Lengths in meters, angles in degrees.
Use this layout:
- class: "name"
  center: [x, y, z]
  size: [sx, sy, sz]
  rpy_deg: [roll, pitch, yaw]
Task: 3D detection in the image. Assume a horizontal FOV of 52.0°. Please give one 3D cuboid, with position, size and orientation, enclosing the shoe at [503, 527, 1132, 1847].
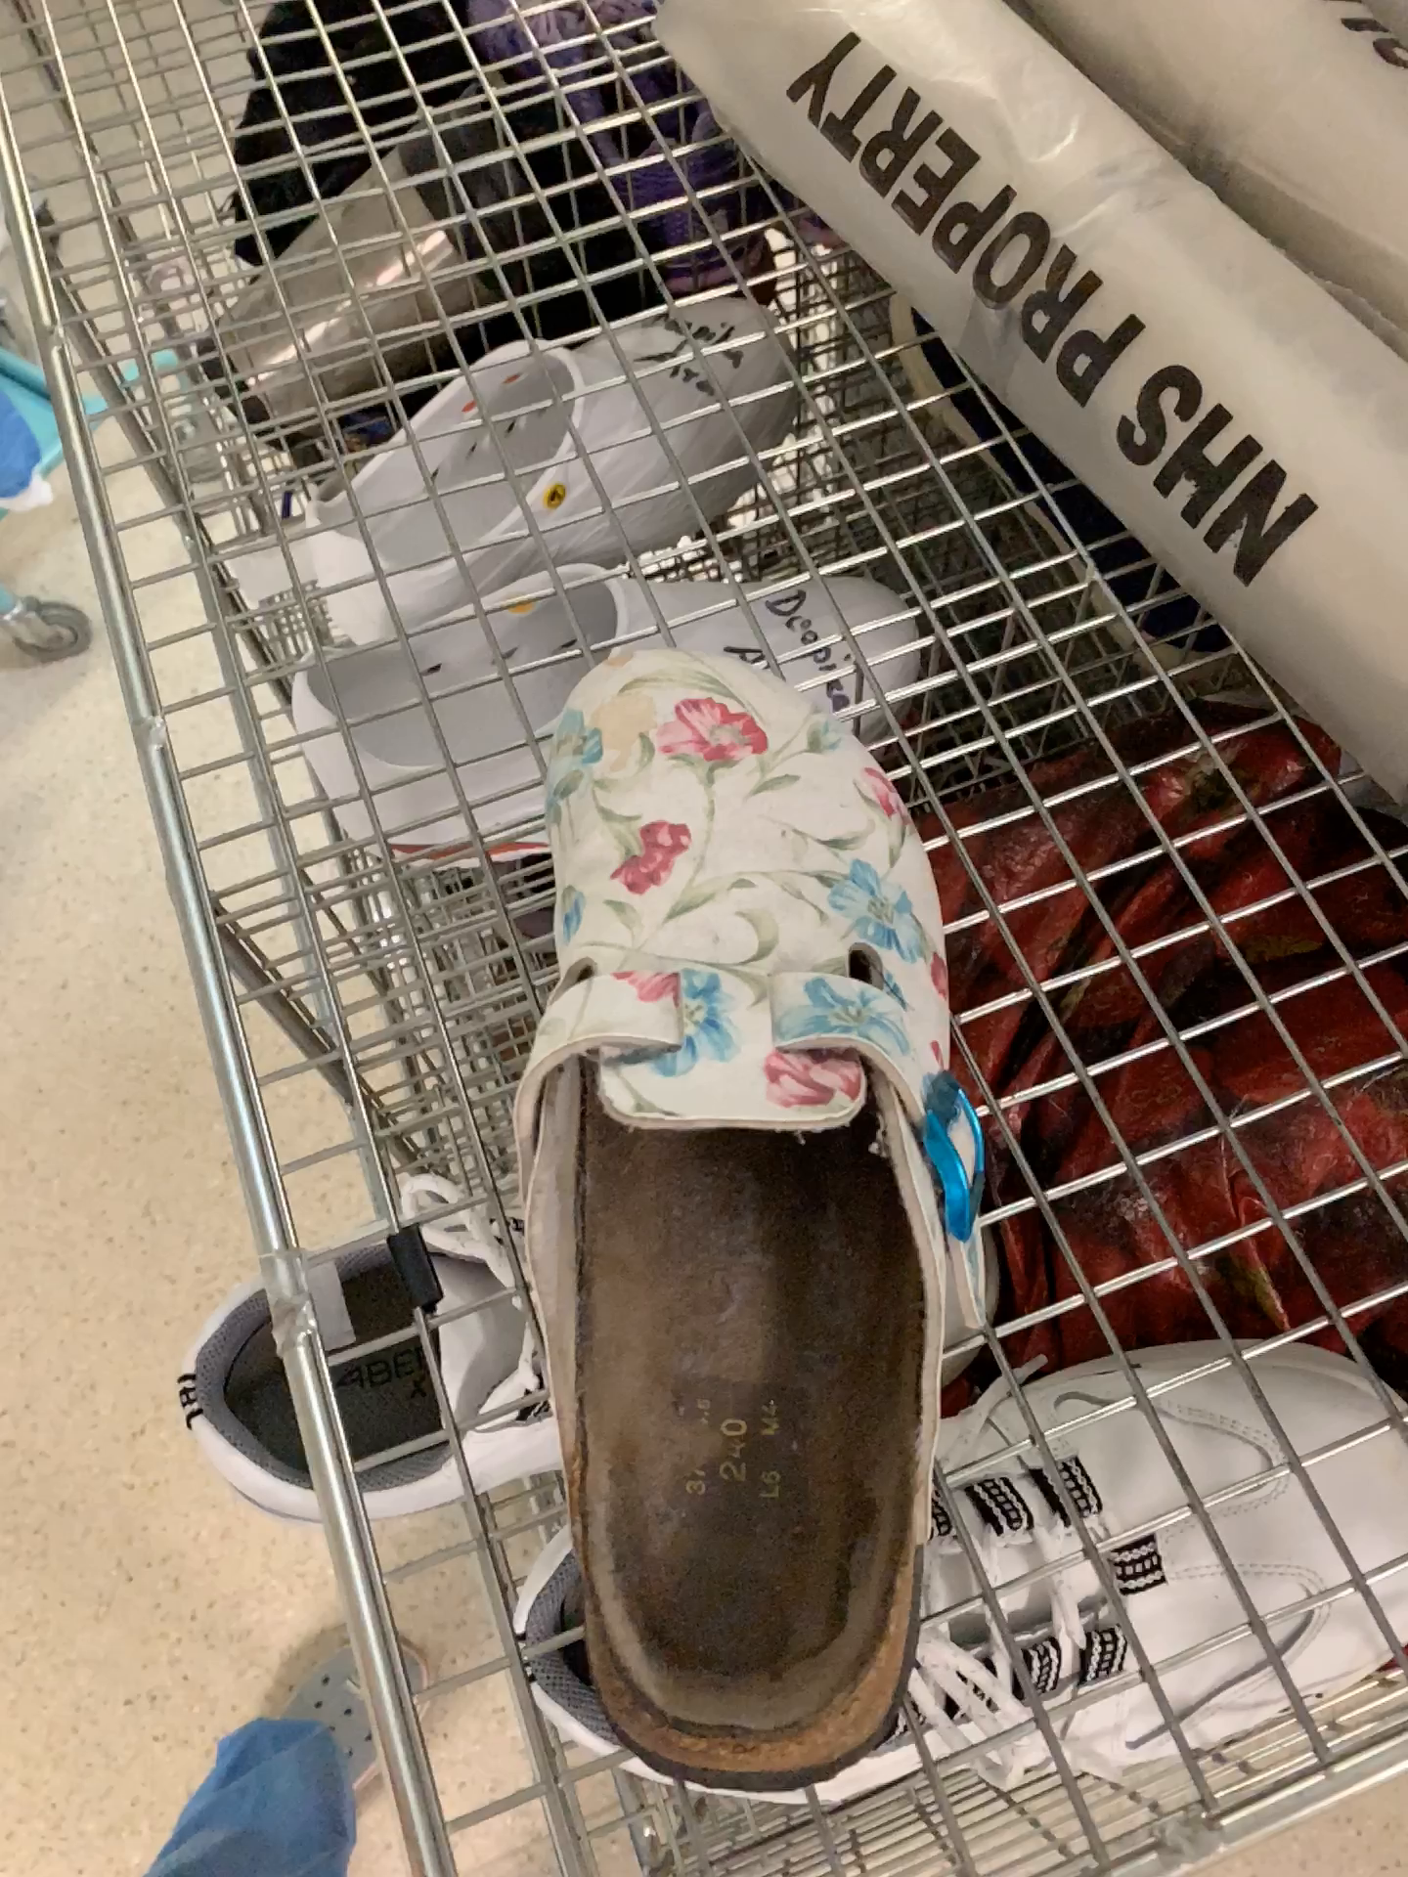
- class: "shoe"
  center: [0.012, 0.039, 0.317]
  size: [0.100, 0.070, 0.260]
  rpy_deg: [-5, 65, 2]
